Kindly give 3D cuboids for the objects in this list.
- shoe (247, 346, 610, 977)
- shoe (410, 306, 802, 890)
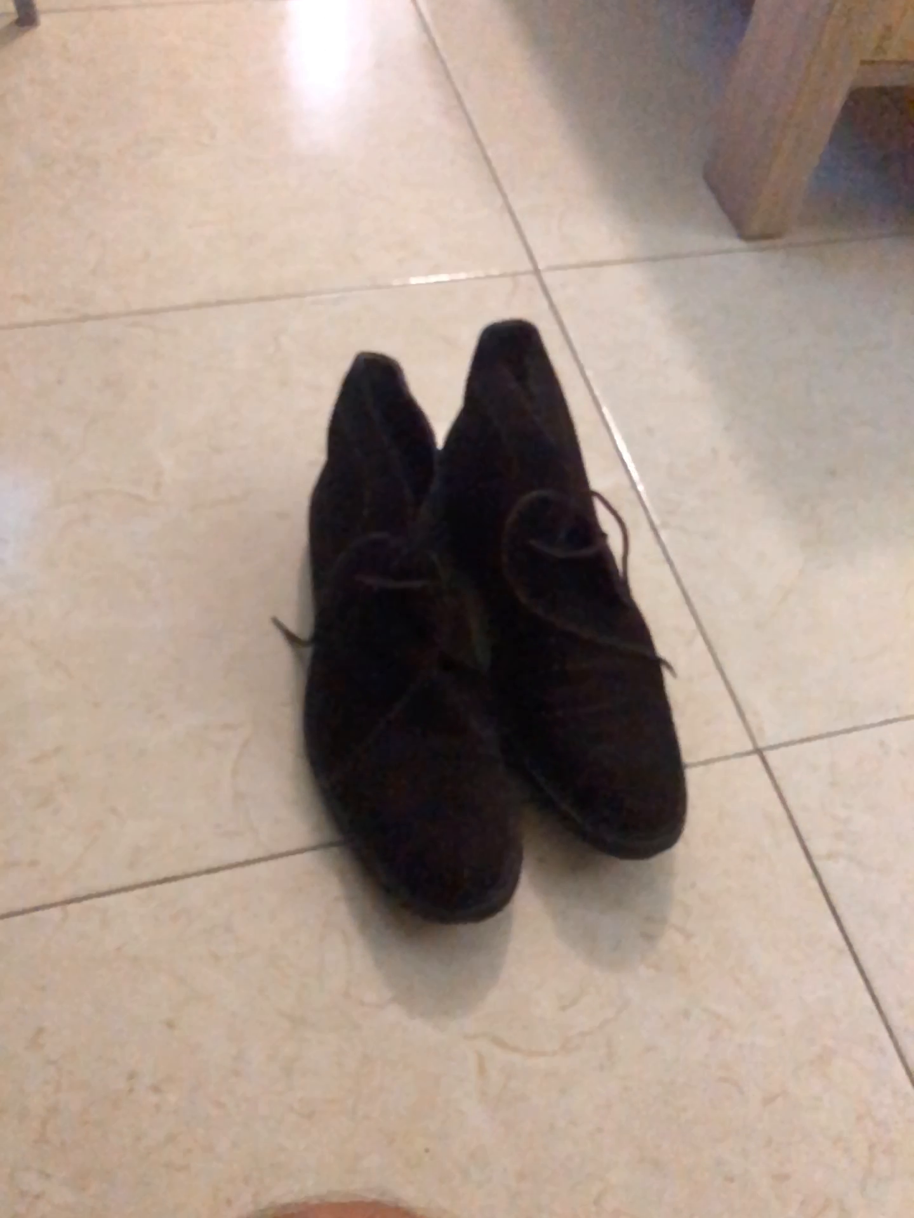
[{"bbox_3d":[-0.031,0.017,0.549,0.110,0.130,0.301,-9,58,-12],"label":"shoe"},{"bbox_3d":[0.063,-0.016,0.595,0.110,0.140,0.301,-9,58,-12],"label":"shoe"}]
